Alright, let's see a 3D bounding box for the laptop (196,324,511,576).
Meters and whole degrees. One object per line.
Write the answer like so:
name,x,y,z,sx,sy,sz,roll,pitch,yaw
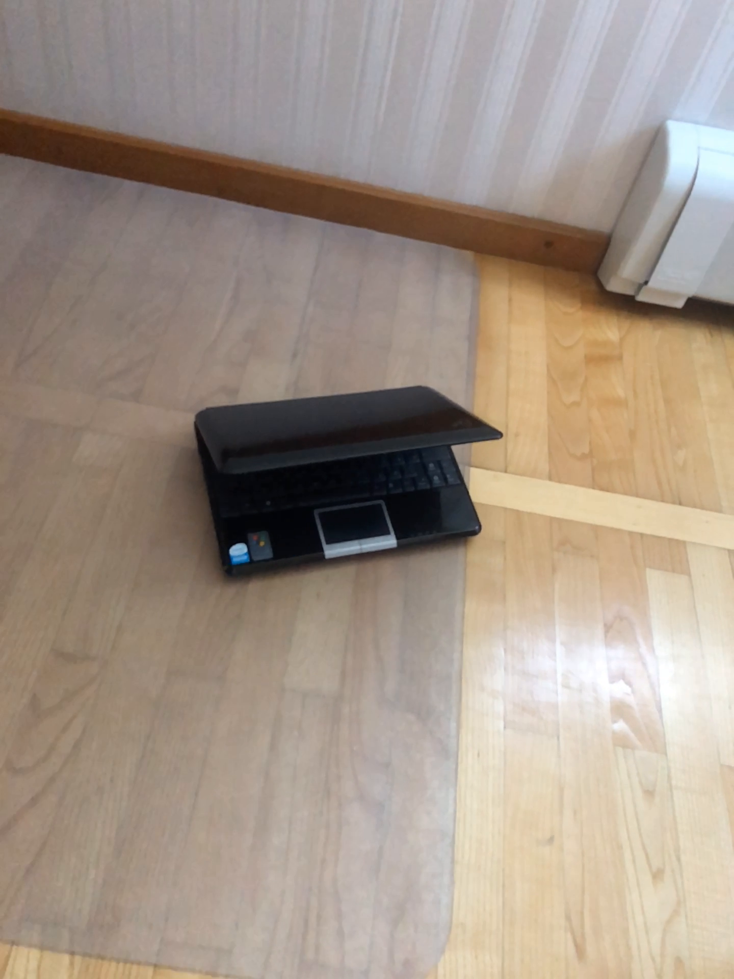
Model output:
laptop,-0.021,-0.046,0.802,0.264,0.102,0.183,-8,59,-18
